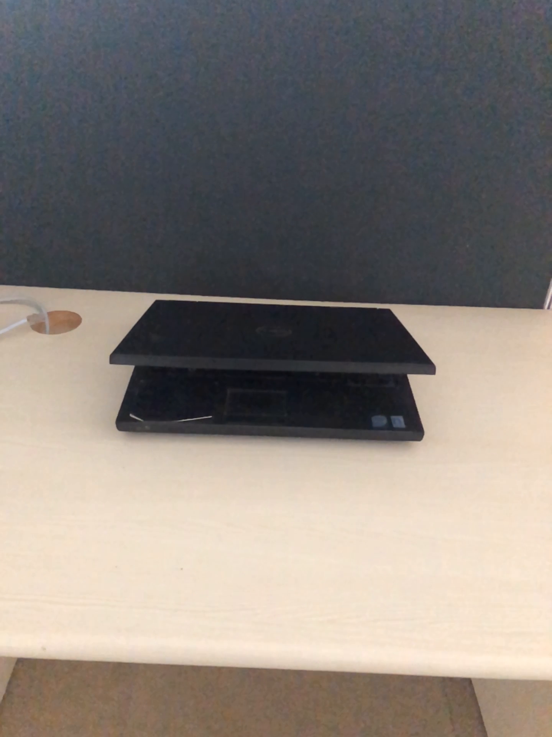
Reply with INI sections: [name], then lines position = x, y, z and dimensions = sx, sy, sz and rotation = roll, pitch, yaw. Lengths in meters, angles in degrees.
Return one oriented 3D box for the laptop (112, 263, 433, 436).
[laptop]
position = -0.002, -0.031, 0.683
dimensions = 0.302, 0.064, 0.231
rotation = 2, 35, -1
